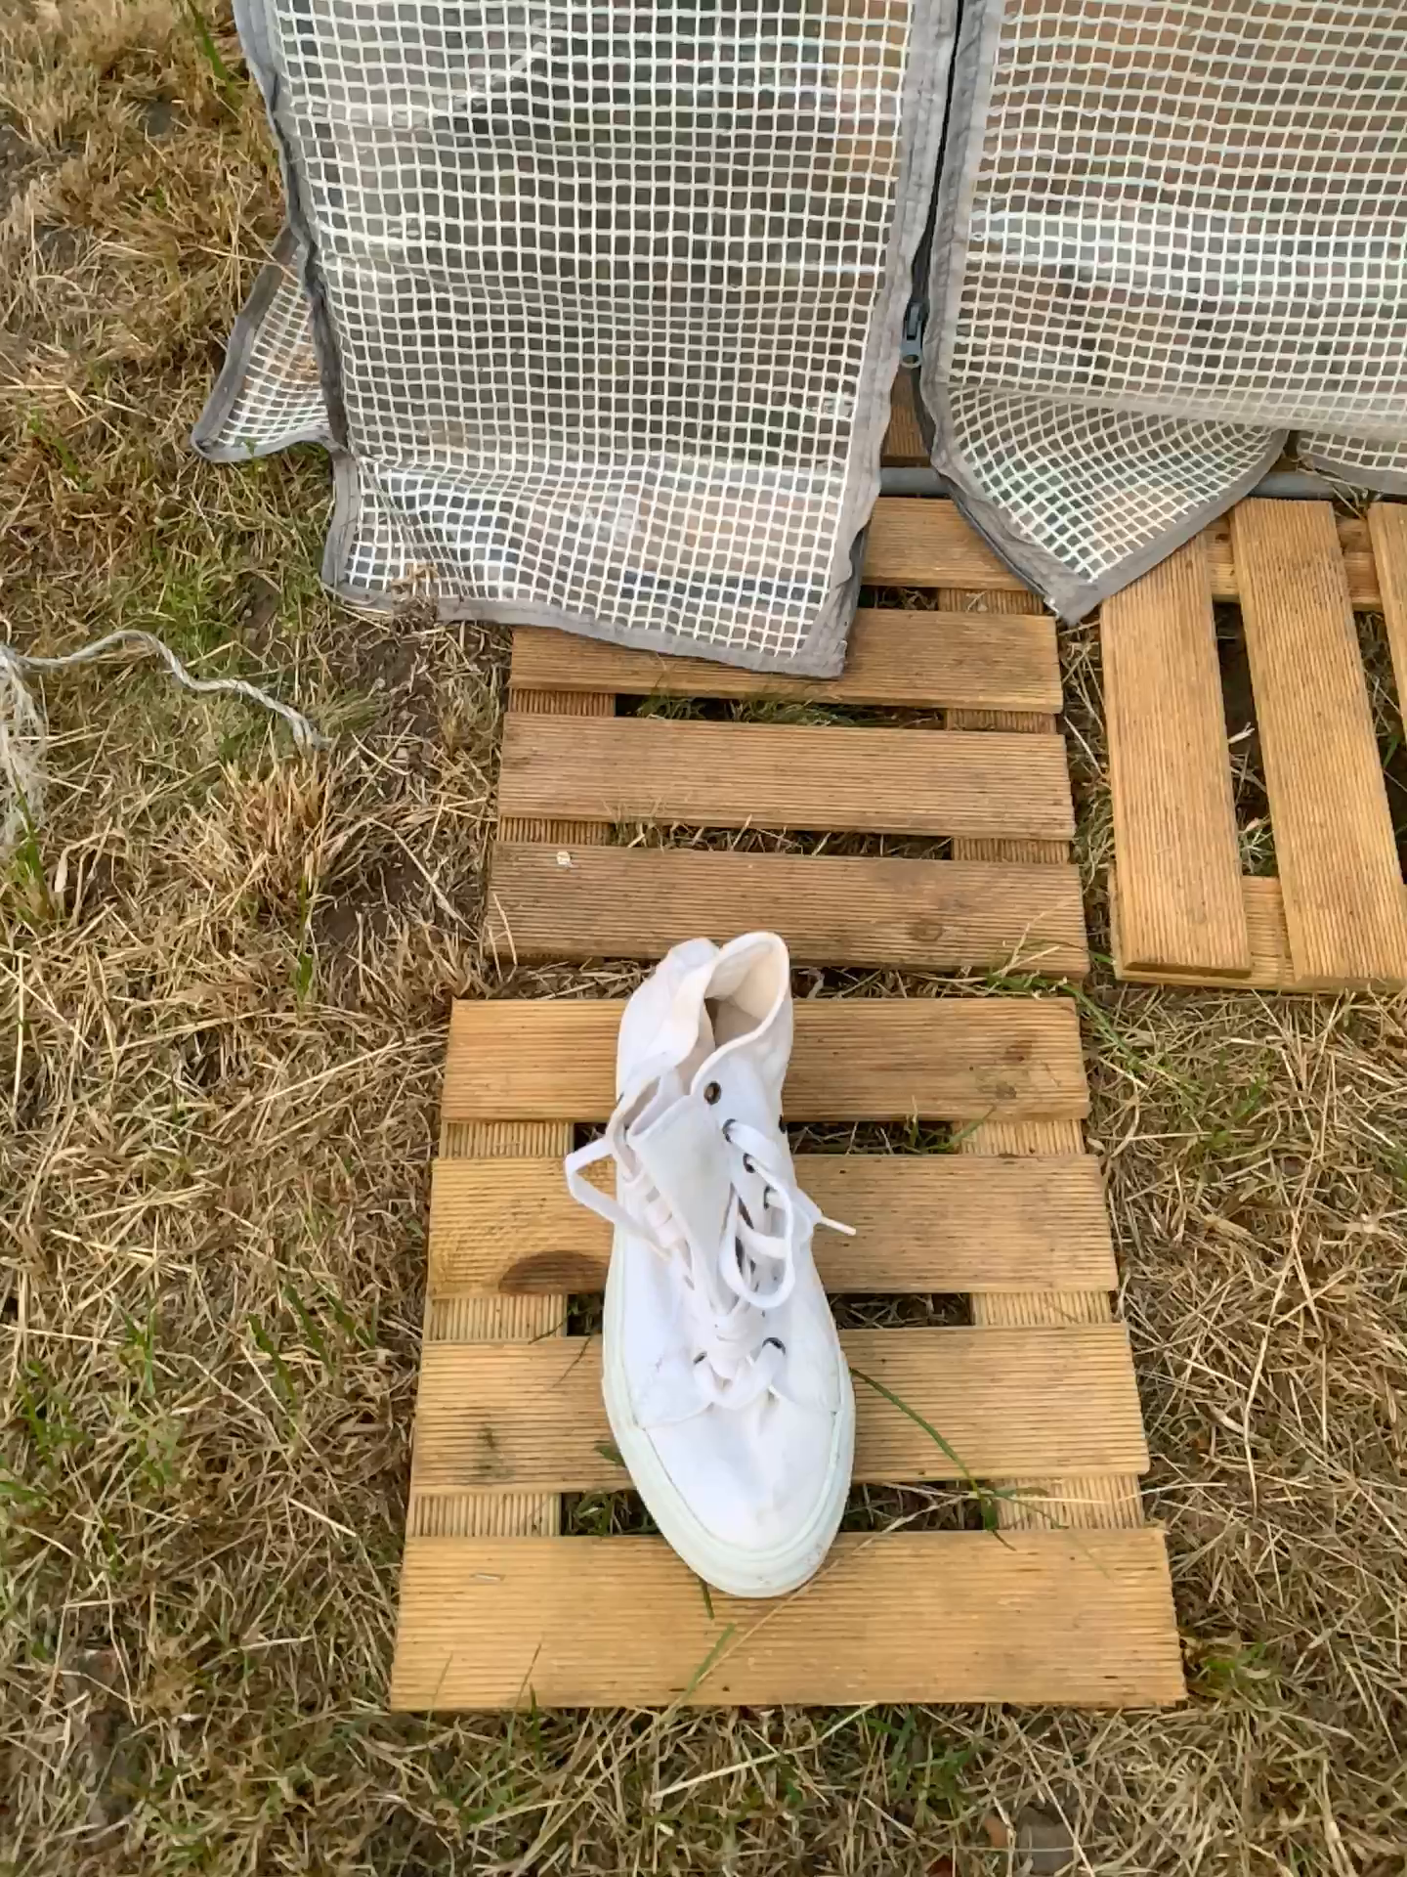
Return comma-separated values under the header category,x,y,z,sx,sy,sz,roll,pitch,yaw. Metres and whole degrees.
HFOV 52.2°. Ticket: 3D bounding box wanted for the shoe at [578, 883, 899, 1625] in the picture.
category,x,y,z,sx,sy,sz,roll,pitch,yaw
shoe,0.005,0.116,0.567,0.100,0.109,0.262,-1,55,-2
